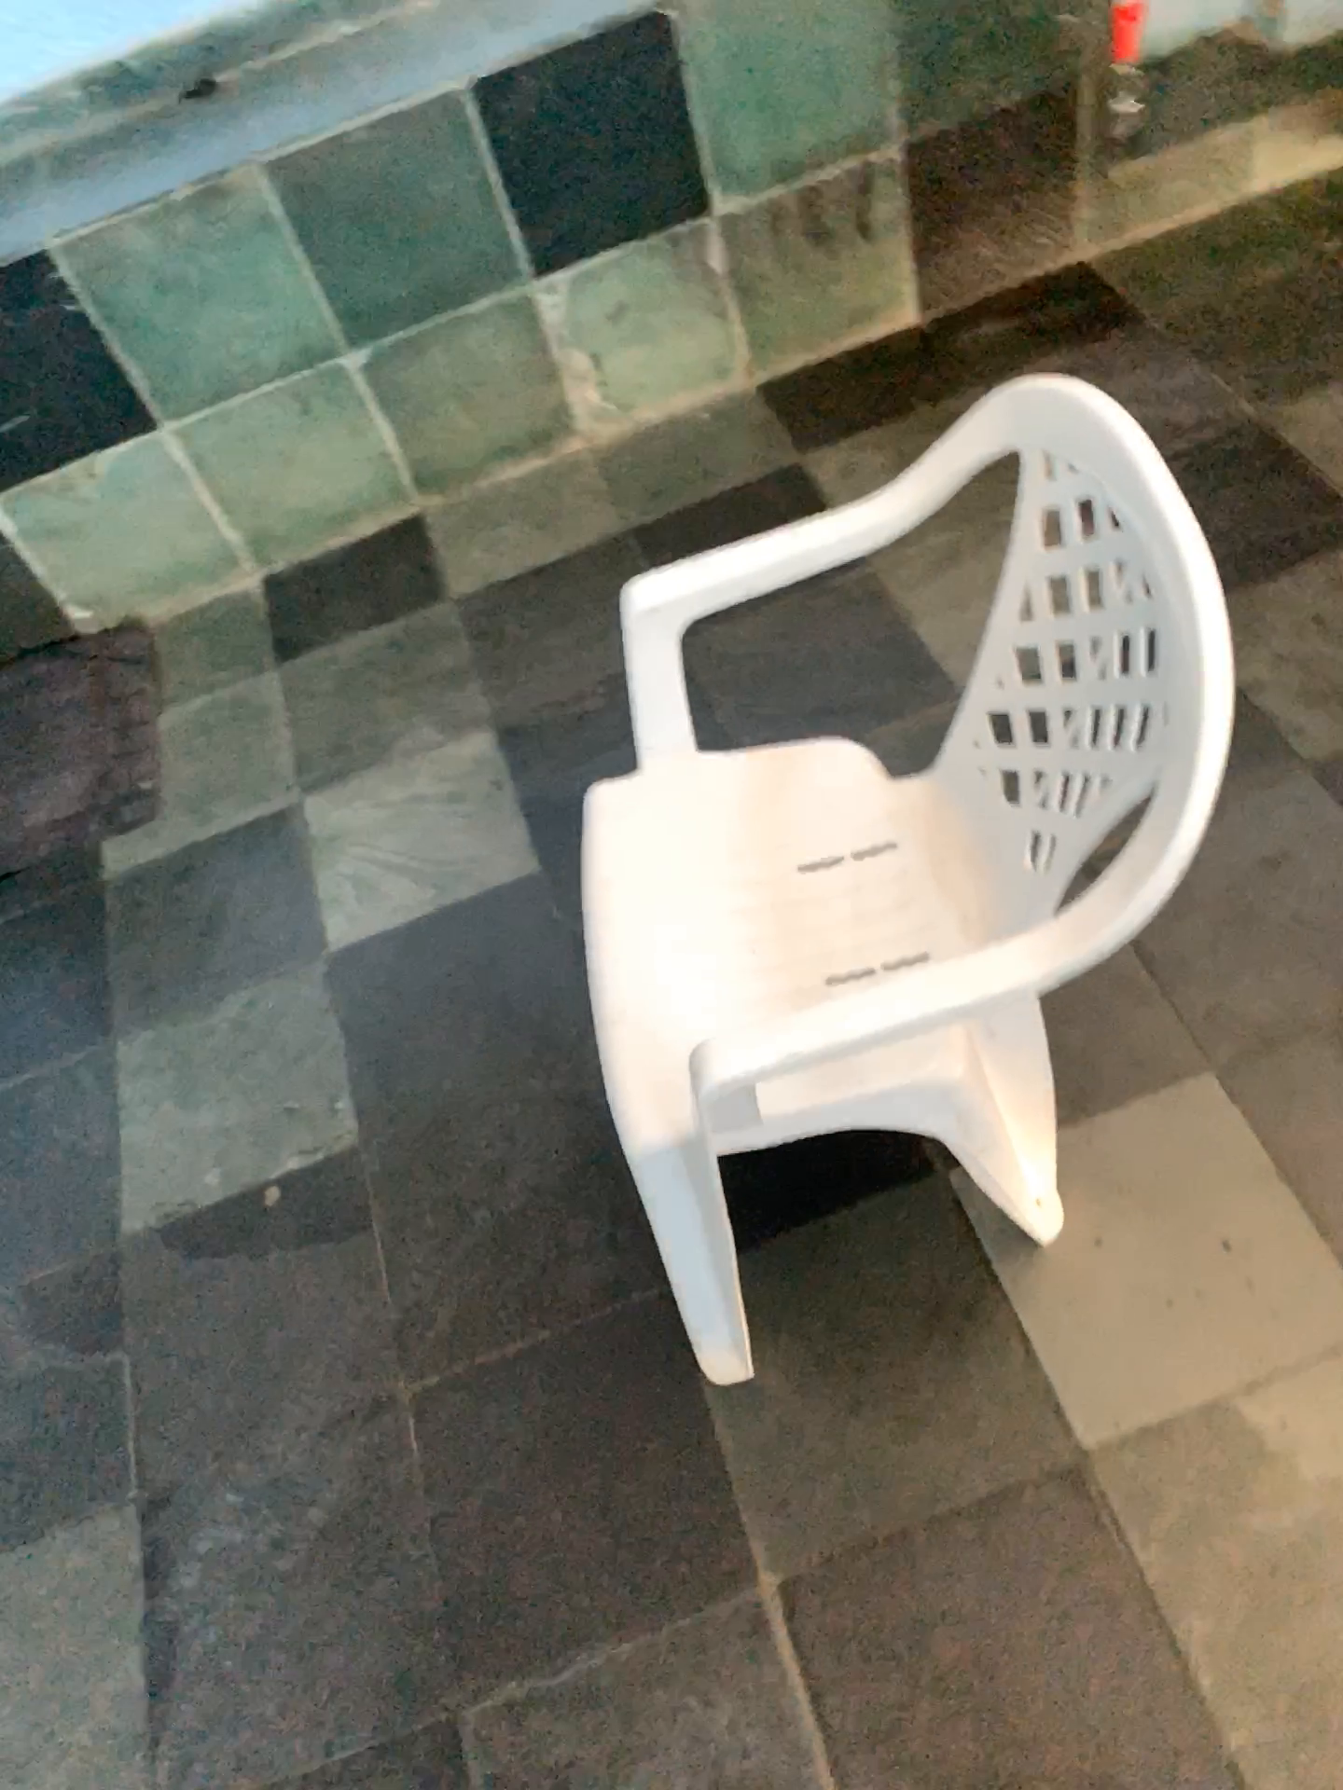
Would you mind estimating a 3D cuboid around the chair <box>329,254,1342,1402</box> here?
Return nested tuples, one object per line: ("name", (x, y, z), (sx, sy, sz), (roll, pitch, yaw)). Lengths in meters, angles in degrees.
("chair", (0.133, -0.006, 1.215), (0.590, 0.717, 0.542), (-17, 51, 4))
